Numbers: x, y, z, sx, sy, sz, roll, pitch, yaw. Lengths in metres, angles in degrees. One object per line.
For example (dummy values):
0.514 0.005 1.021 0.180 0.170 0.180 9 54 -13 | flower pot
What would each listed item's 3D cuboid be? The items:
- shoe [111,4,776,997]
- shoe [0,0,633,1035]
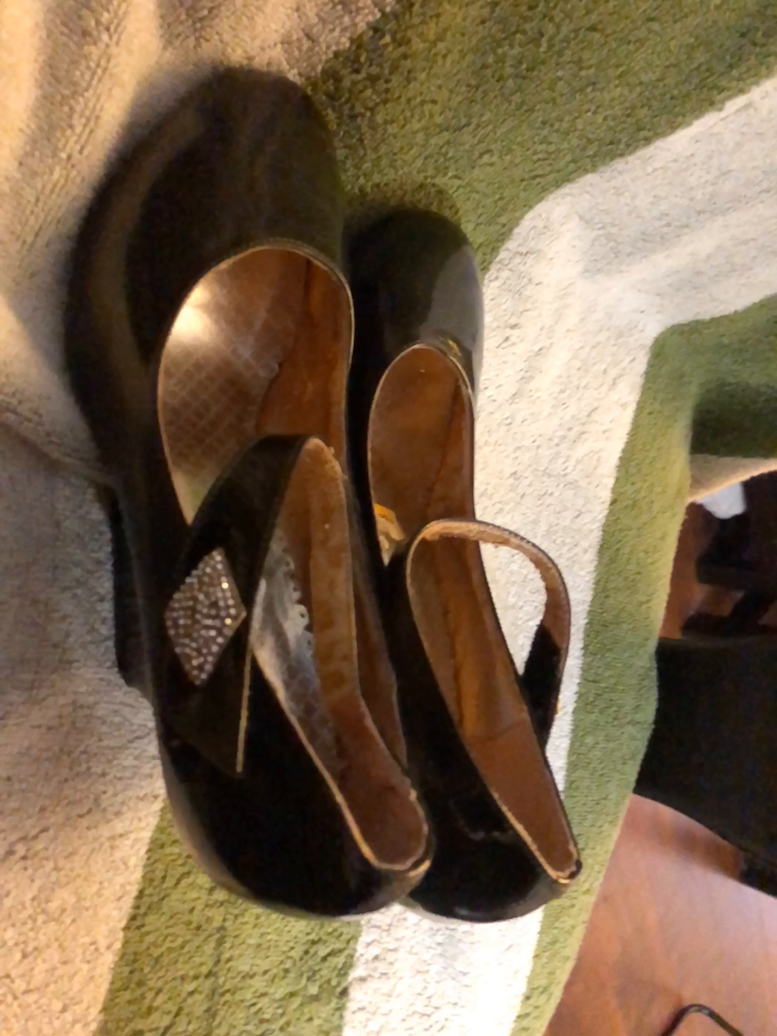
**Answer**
0.019 -0.006 0.269 0.090 0.120 0.240 24 80 -42 | shoe
-0.033 -0.024 0.224 0.090 0.120 0.240 11 89 -43 | shoe
